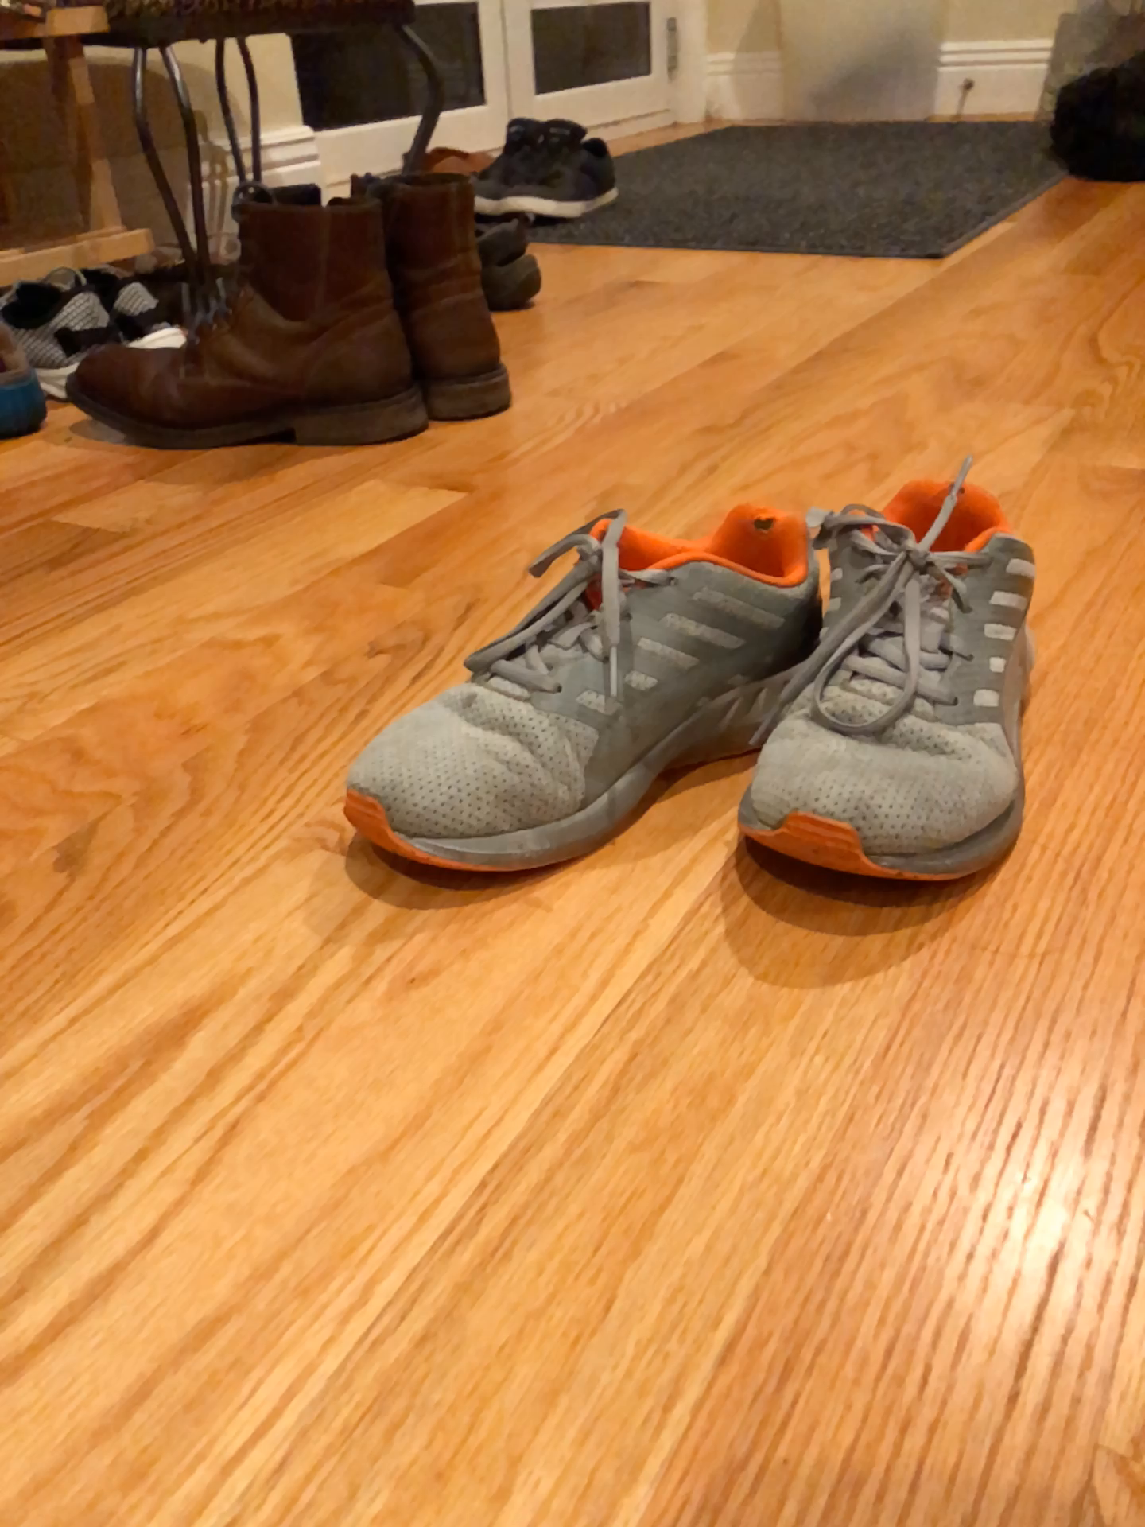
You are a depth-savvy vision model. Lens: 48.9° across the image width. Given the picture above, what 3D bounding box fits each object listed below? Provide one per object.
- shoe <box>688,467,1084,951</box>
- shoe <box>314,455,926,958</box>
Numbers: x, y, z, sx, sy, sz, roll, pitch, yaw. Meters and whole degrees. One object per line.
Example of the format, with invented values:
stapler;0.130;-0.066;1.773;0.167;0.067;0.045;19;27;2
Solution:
shoe;0.140;-0.041;0.521;0.110;0.080;0.251;9;33;21
shoe;0.032;-0.040;0.528;0.251;0.099;0.100;-29;39;-36
